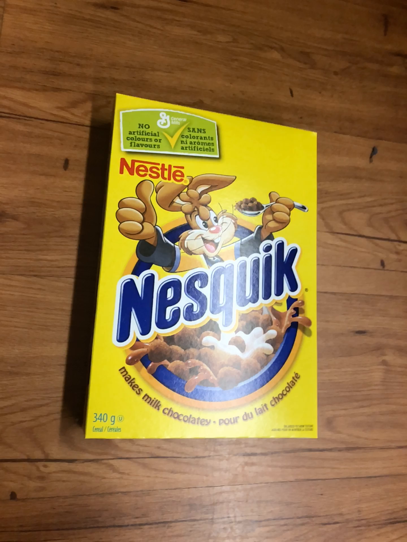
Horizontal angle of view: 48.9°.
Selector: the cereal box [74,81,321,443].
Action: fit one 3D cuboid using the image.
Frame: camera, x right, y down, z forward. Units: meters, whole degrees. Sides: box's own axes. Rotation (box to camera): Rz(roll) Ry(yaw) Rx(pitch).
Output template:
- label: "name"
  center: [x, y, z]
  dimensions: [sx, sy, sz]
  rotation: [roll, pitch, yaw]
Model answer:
- label: "cereal box"
  center: [0.001, -0.004, 0.404]
  dimensions: [0.200, 0.060, 0.290]
  rotation: [5, 80, -14]
